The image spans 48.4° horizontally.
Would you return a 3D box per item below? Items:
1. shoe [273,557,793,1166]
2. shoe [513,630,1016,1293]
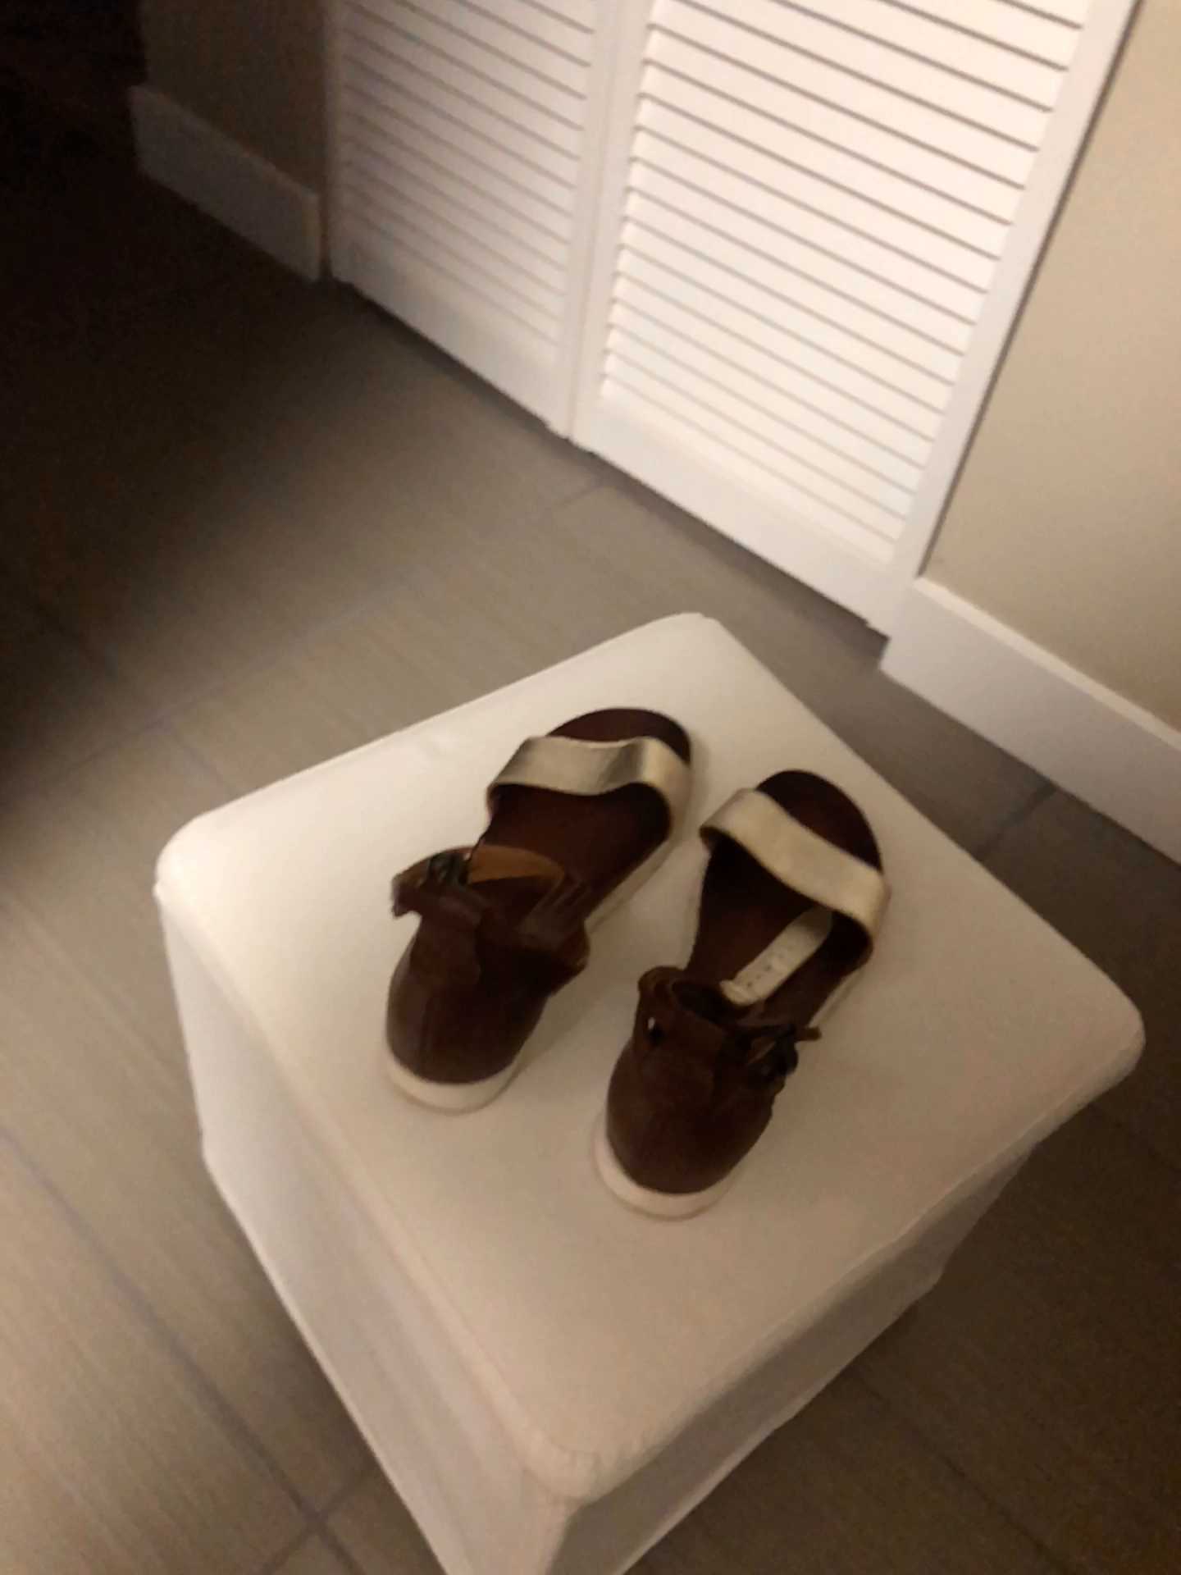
[{"bbox_3d":[-0.016,0.019,0.592,0.110,0.090,0.261,25,49,13],"label":"shoe"},{"bbox_3d":[0.082,0.059,0.564,0.110,0.090,0.261,25,49,13],"label":"shoe"}]
